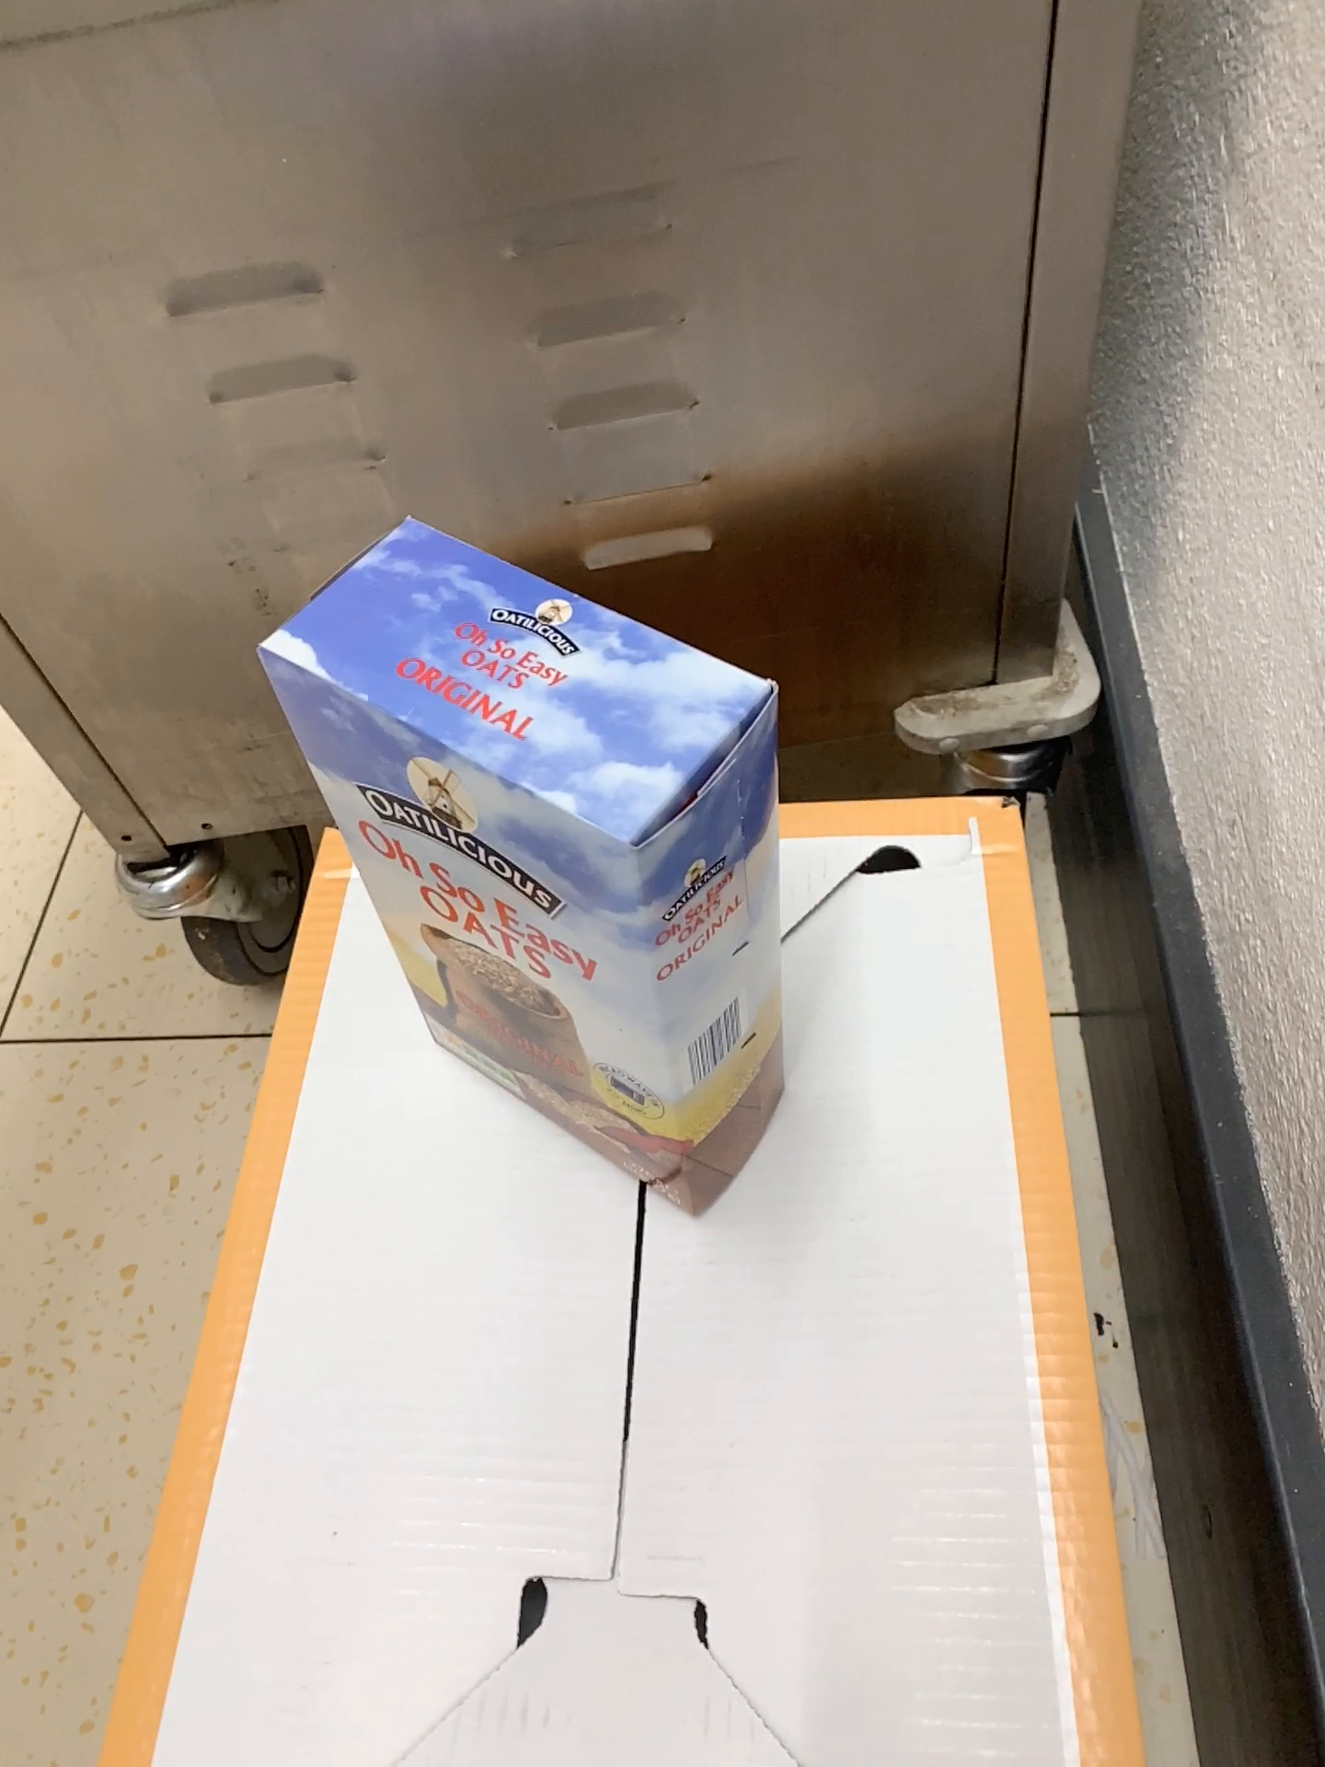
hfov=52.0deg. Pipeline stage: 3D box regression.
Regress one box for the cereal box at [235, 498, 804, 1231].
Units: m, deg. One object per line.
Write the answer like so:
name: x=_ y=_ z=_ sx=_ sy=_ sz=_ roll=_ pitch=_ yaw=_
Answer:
cereal box: x=-0.030 y=0.006 z=0.426 sx=0.131 sy=0.218 sz=0.060 roll=29 pitch=61 yaw=26
